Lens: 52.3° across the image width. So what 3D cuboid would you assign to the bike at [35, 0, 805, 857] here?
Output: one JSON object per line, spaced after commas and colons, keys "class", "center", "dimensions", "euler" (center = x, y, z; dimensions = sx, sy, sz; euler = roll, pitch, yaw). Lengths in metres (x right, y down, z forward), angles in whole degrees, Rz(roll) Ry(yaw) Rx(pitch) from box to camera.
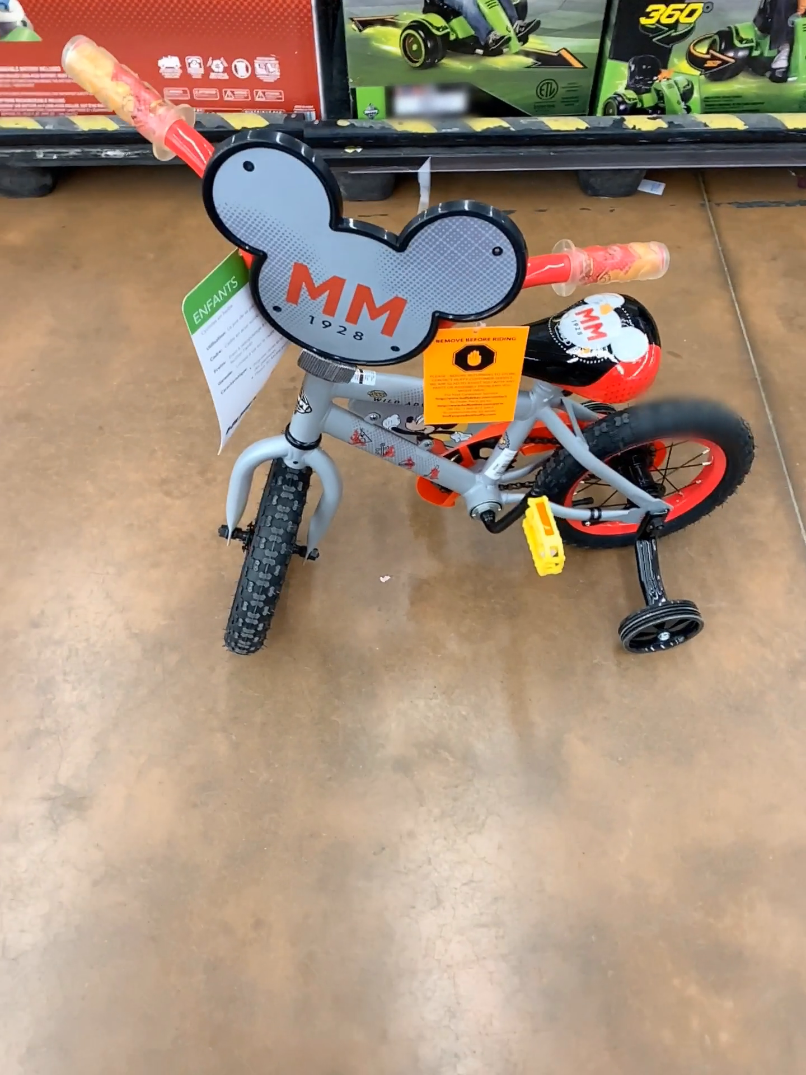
{"class": "bike", "center": [0.110, -0.094, 0.882], "dimensions": [0.678, 0.742, 0.450], "euler": [-19, 58, -8]}
